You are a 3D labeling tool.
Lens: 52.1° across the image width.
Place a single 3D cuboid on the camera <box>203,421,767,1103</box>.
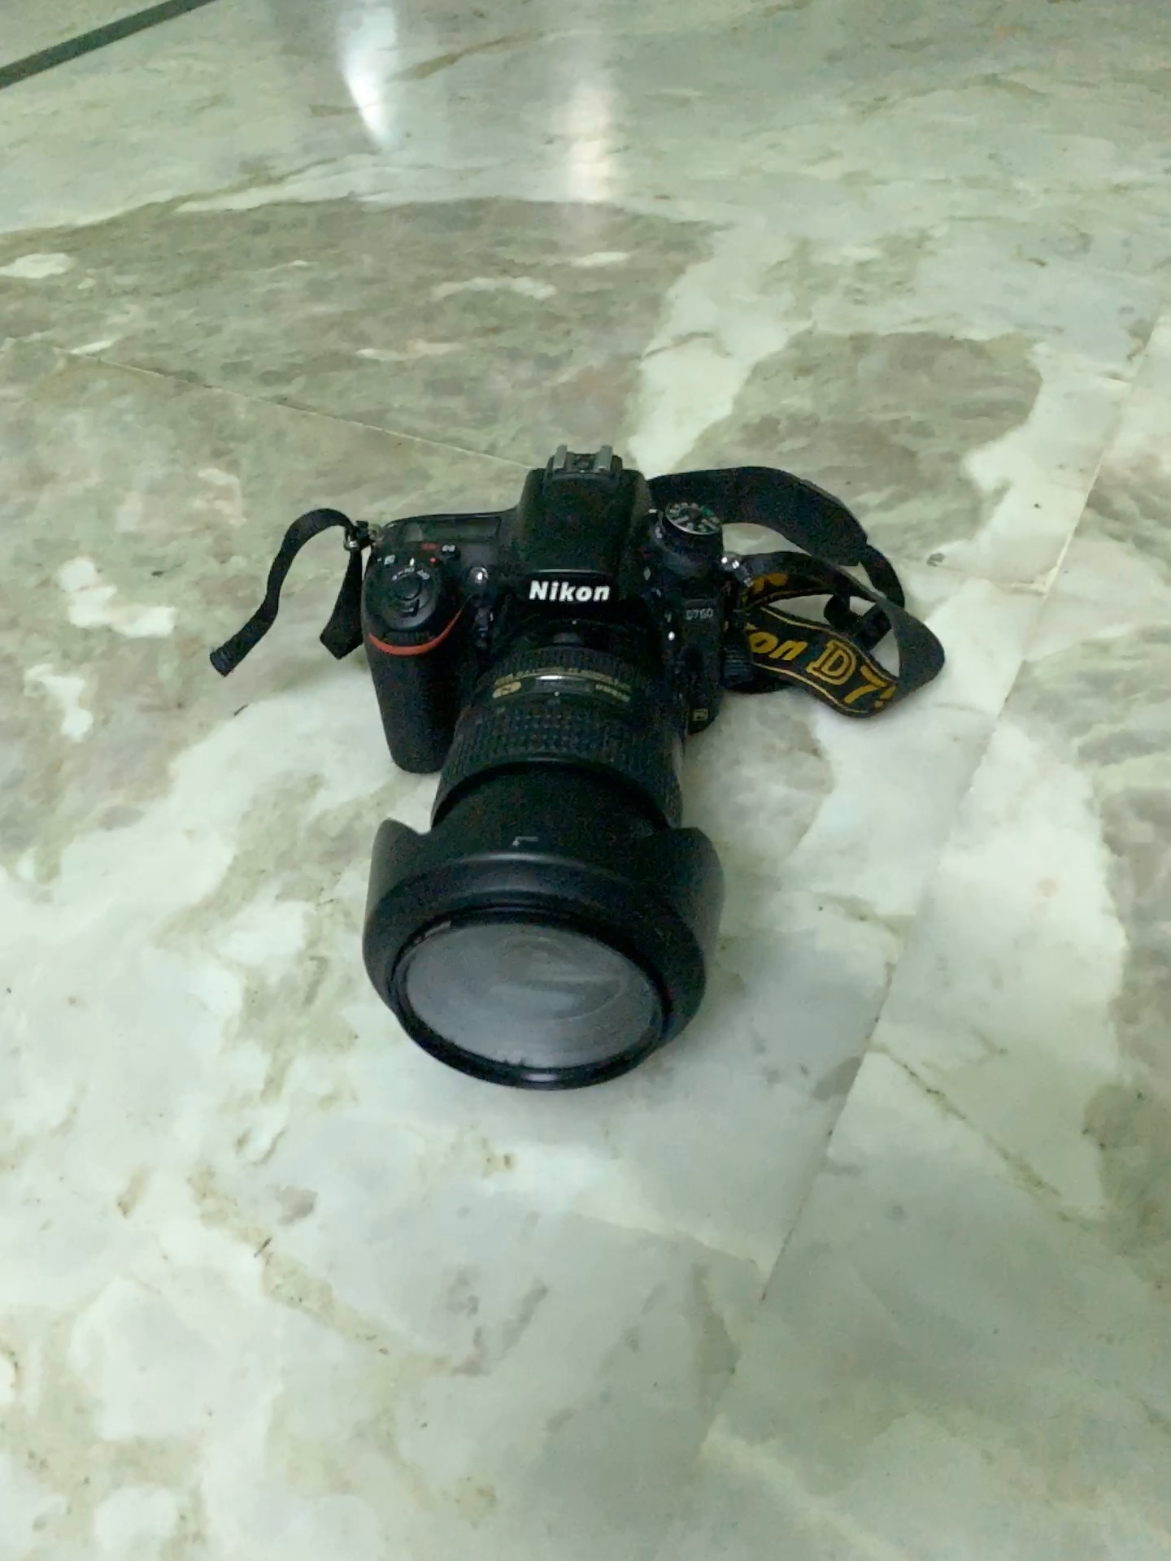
[{"bbox_3d":[-0.017,-0.017,0.379,0.130,0.090,0.211,0,46,4],"label":"camera"}]
